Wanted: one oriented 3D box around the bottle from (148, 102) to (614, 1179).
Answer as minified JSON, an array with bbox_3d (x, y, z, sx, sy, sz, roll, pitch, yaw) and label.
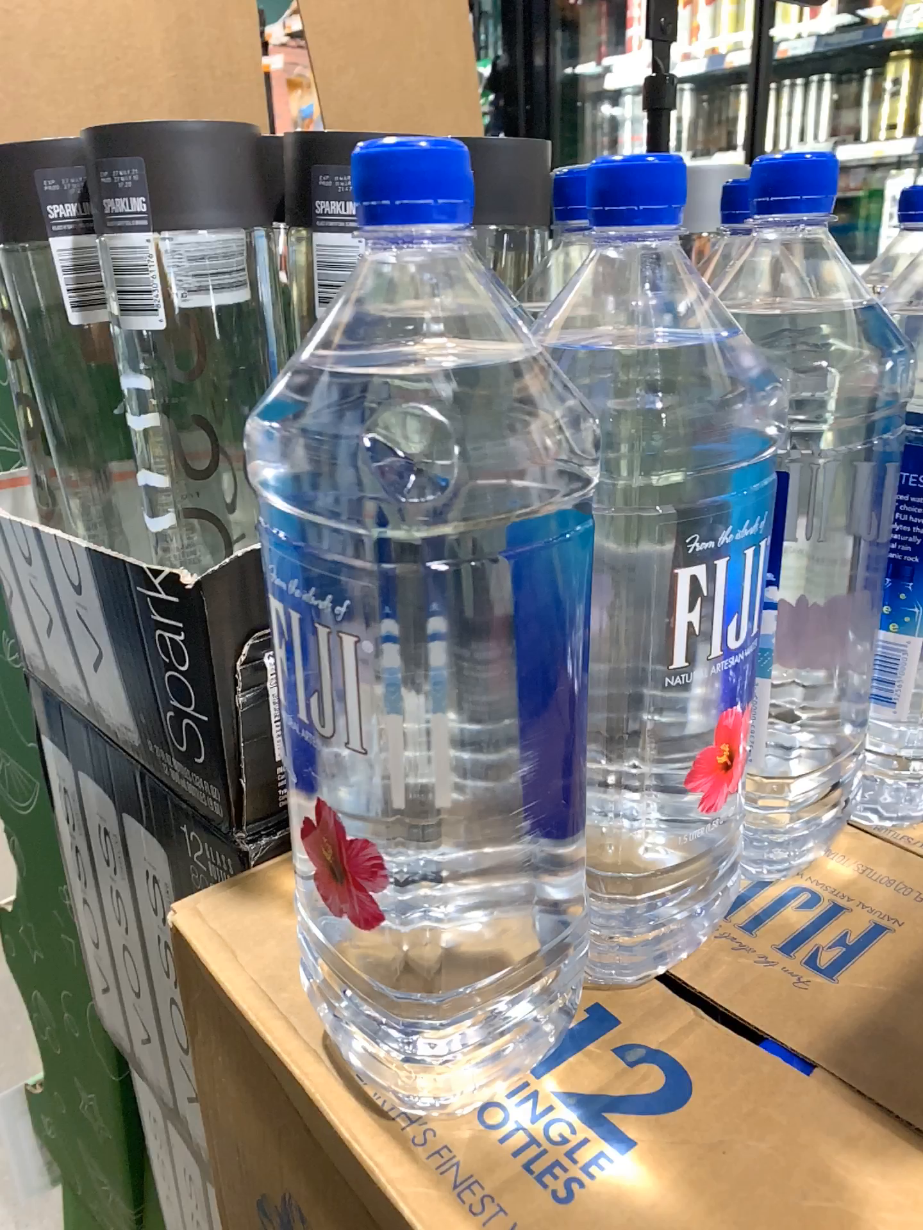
[{"bbox_3d":[-0.018,0.012,0.282,0.080,0.279,0.090,-16,24,-32],"label":"bottle"}]
